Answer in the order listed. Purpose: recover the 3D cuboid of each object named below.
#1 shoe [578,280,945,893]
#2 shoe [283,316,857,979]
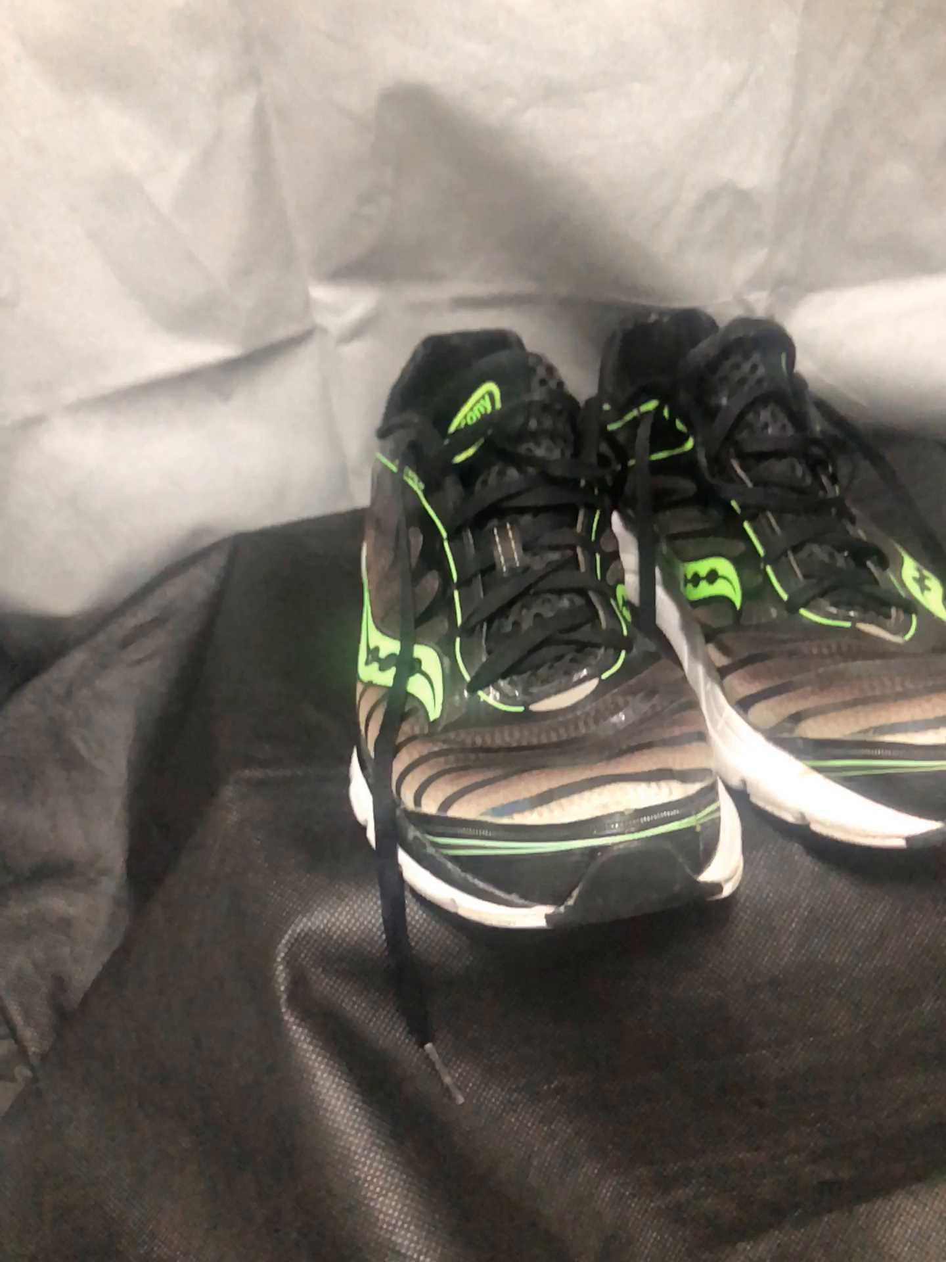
[{"bbox_3d":[0.123,-0.037,0.358,0.114,0.097,0.226,-8,33,-8],"label":"shoe"},{"bbox_3d":[0.008,-0.019,0.344,0.116,0.096,0.226,-8,33,-8],"label":"shoe"}]
